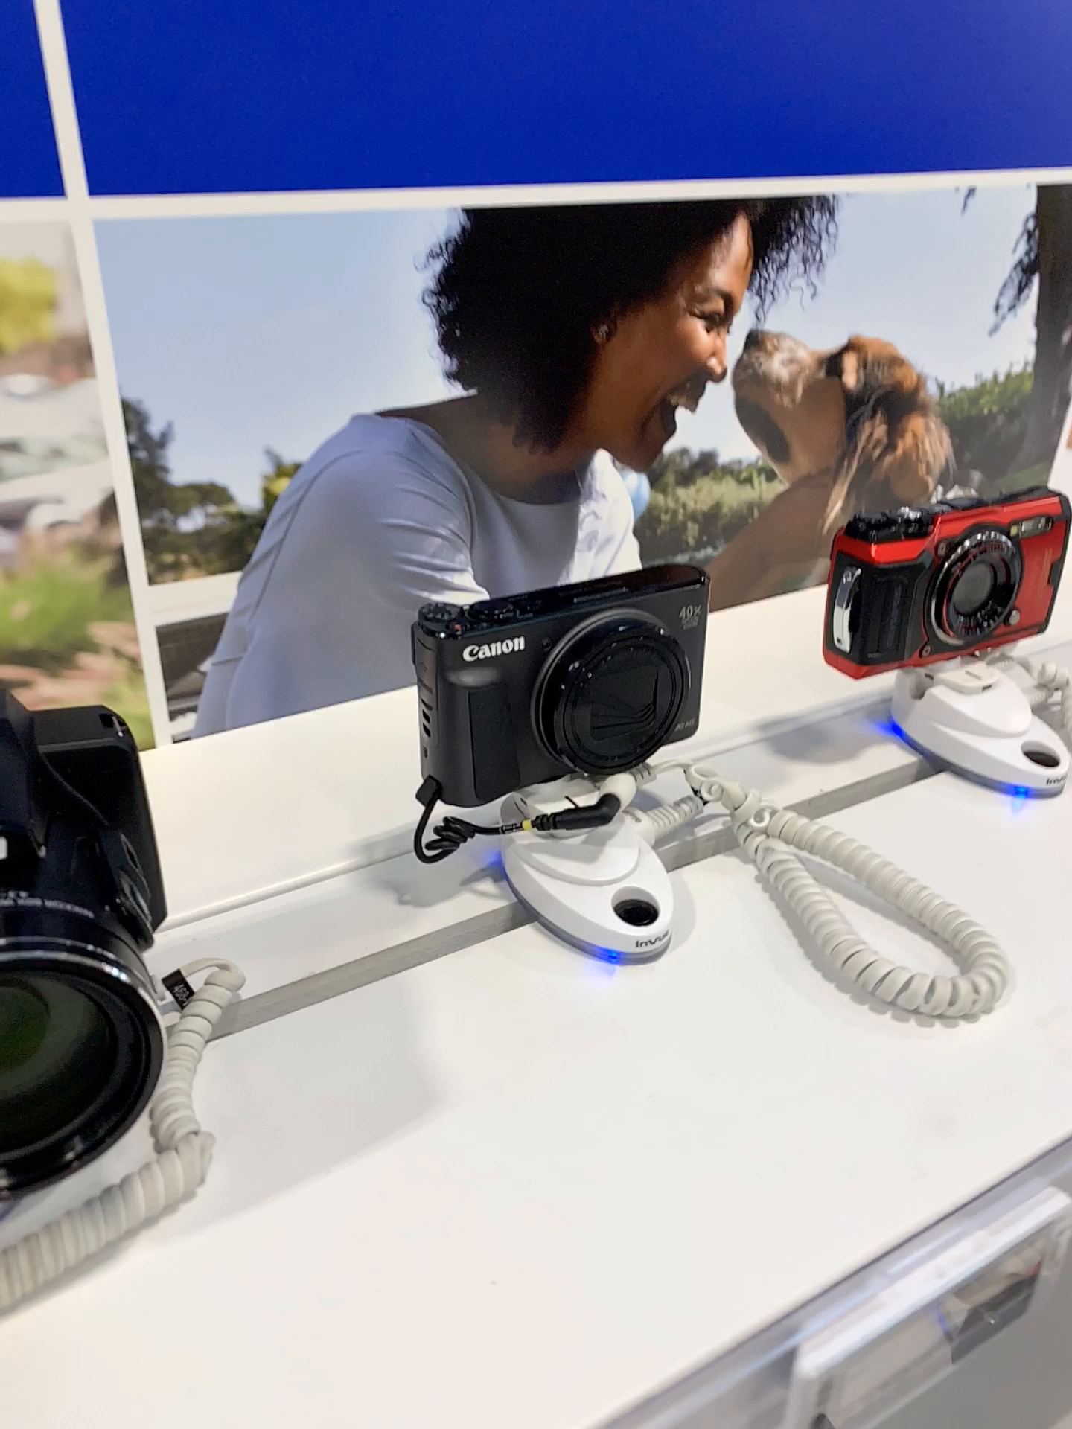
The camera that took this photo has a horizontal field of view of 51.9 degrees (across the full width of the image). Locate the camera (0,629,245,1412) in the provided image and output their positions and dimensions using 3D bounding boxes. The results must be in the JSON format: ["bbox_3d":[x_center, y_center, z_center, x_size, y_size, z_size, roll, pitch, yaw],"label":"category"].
[{"bbox_3d":[-0.143,0.049,0.241,0.120,0.080,0.111,-15,31,-26],"label":"camera"}]

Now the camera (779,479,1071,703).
[{"bbox_3d":[0.174,-0.056,0.471,0.130,0.060,0.050,-15,31,-26],"label":"camera"}]

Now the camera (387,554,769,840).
[{"bbox_3d":[0.015,-0.010,0.385,0.120,0.060,0.050,-15,31,-26],"label":"camera"}]
